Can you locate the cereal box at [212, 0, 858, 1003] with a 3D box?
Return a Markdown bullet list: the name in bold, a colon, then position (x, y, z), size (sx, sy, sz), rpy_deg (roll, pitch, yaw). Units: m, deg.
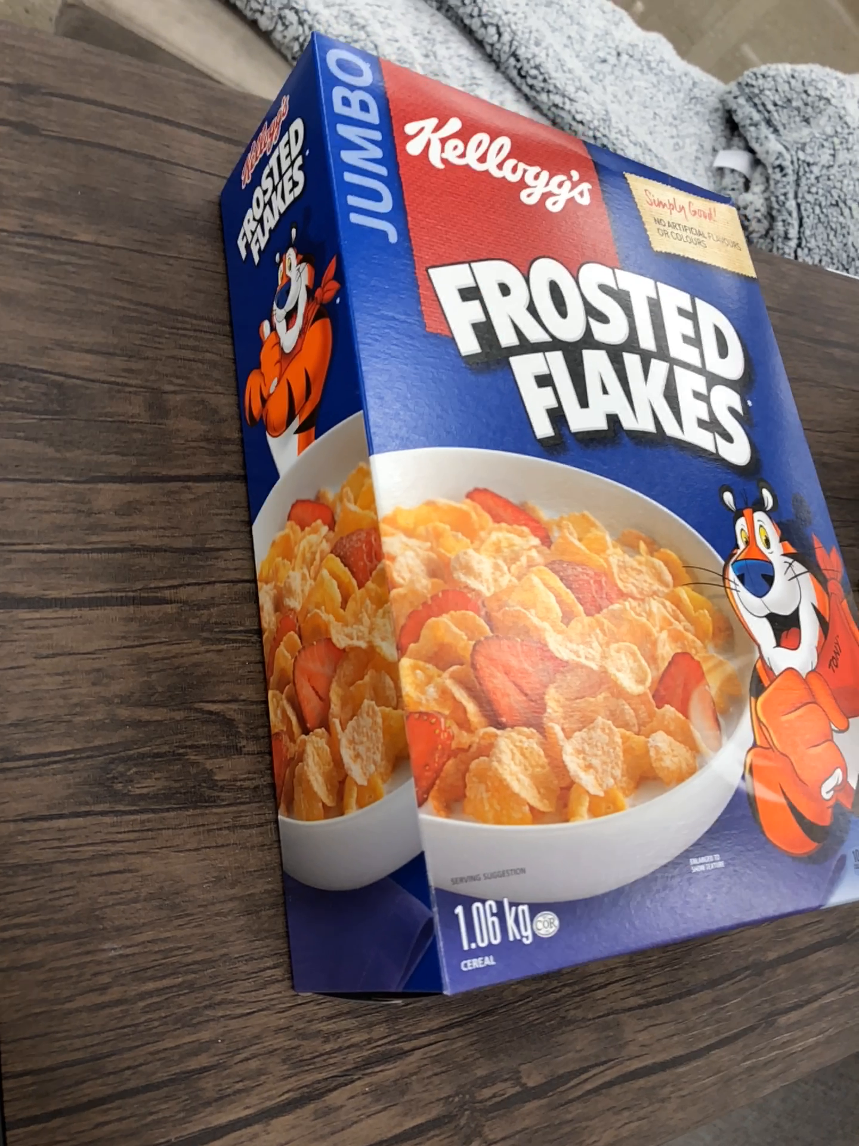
- **cereal box**: position (0.058, -0.040, 0.408), size (0.251, 0.100, 0.370), rpy_deg (4, 67, -33)
